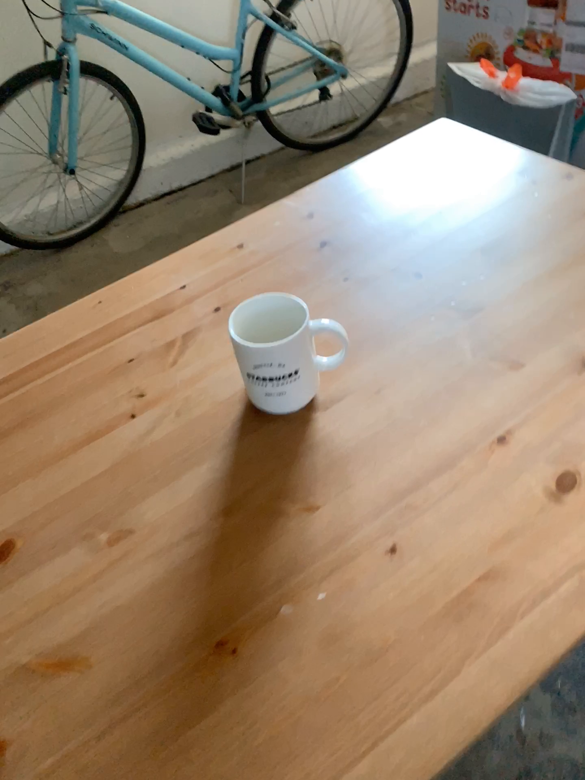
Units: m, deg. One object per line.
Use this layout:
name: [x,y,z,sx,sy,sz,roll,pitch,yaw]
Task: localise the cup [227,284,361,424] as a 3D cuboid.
cup: [0.002,-0.036,0.621,0.120,0.100,0.080,-9,48,3]
